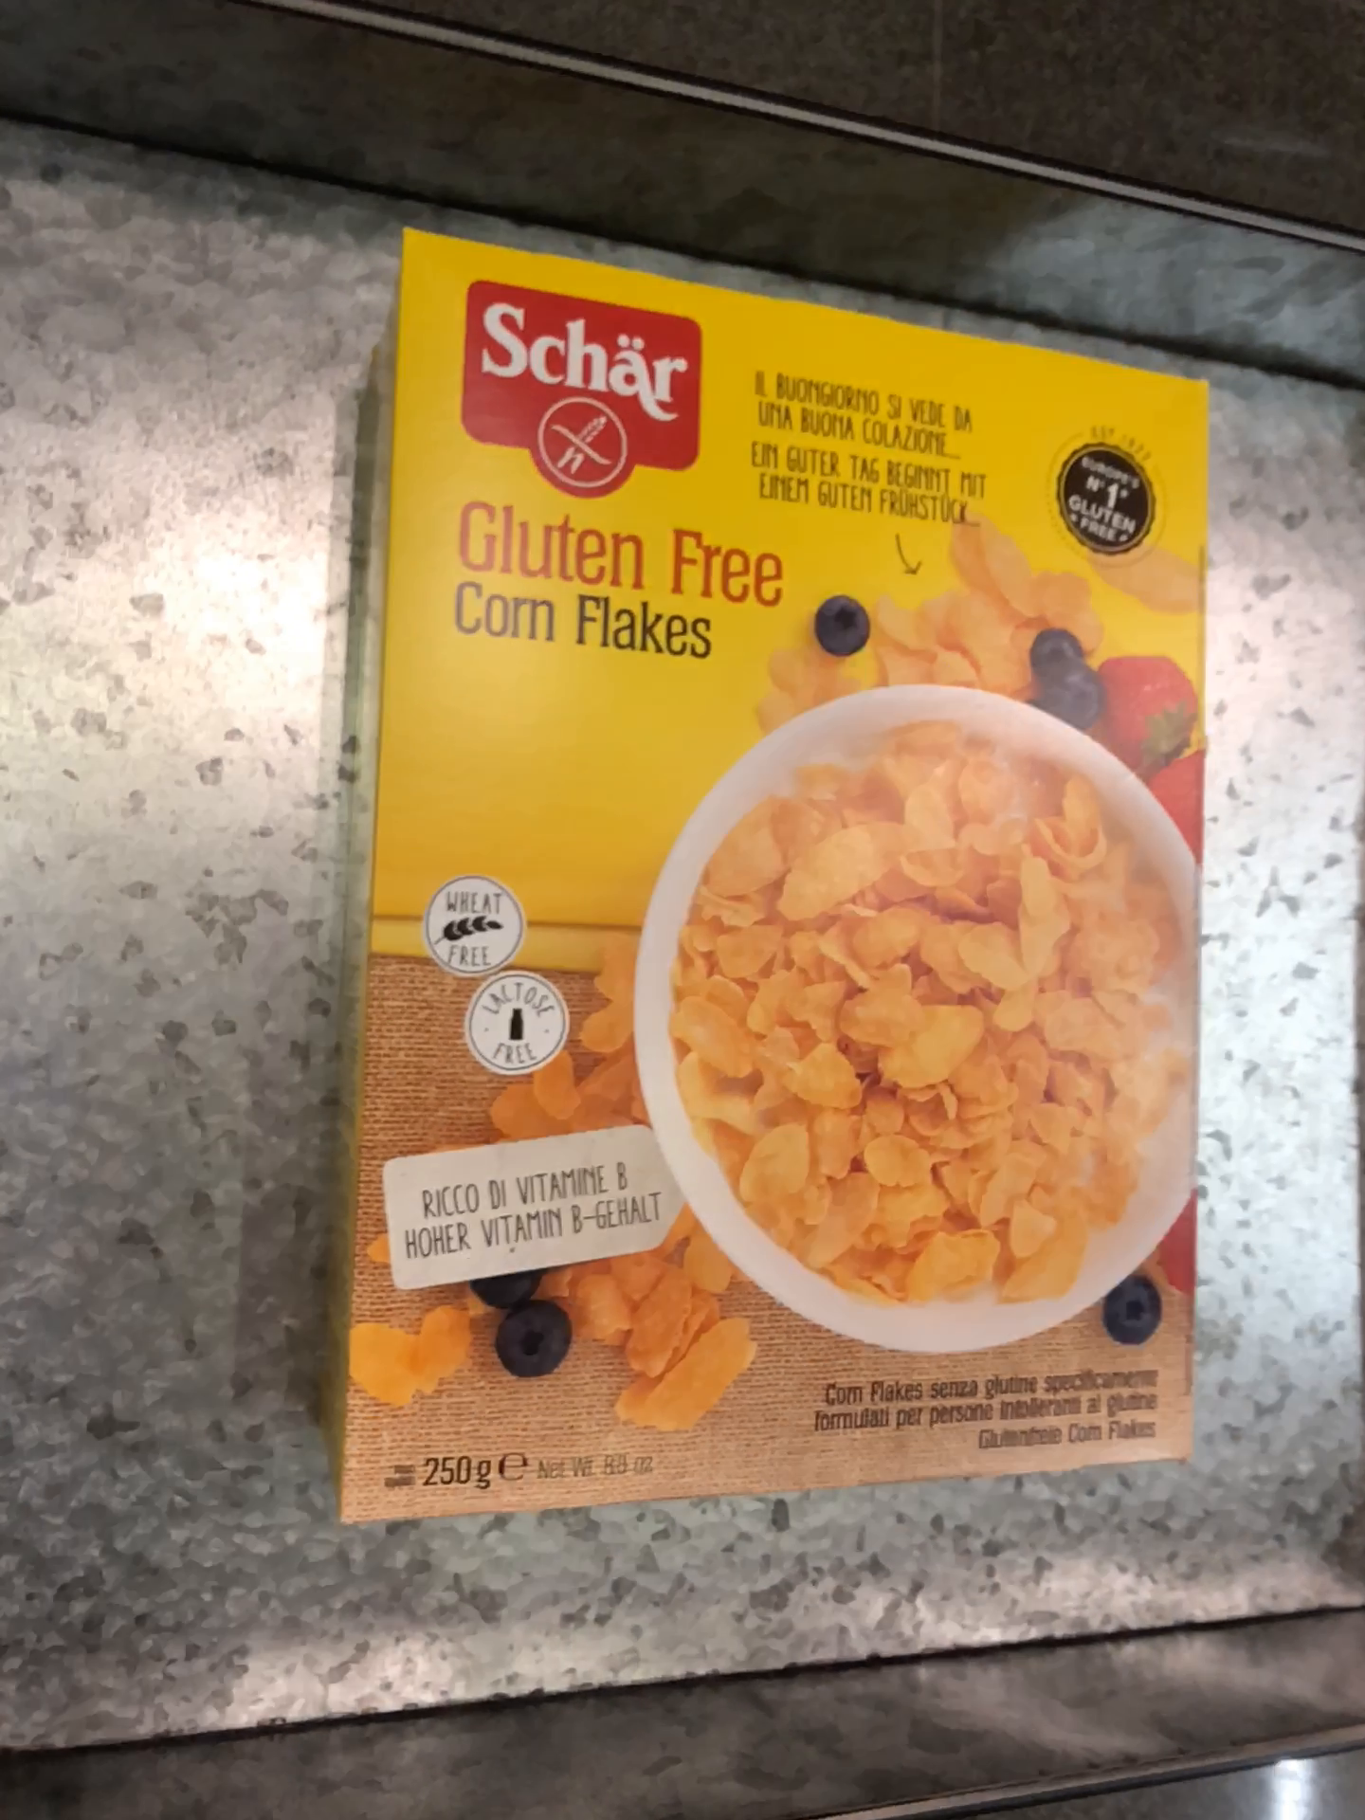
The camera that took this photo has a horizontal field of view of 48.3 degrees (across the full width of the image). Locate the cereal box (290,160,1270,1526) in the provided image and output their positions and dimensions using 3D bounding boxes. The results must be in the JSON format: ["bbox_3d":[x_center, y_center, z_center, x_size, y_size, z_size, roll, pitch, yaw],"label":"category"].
[{"bbox_3d":[0.023,-0.009,0.342,0.200,0.070,0.250,3,87,-18],"label":"cereal box"}]
